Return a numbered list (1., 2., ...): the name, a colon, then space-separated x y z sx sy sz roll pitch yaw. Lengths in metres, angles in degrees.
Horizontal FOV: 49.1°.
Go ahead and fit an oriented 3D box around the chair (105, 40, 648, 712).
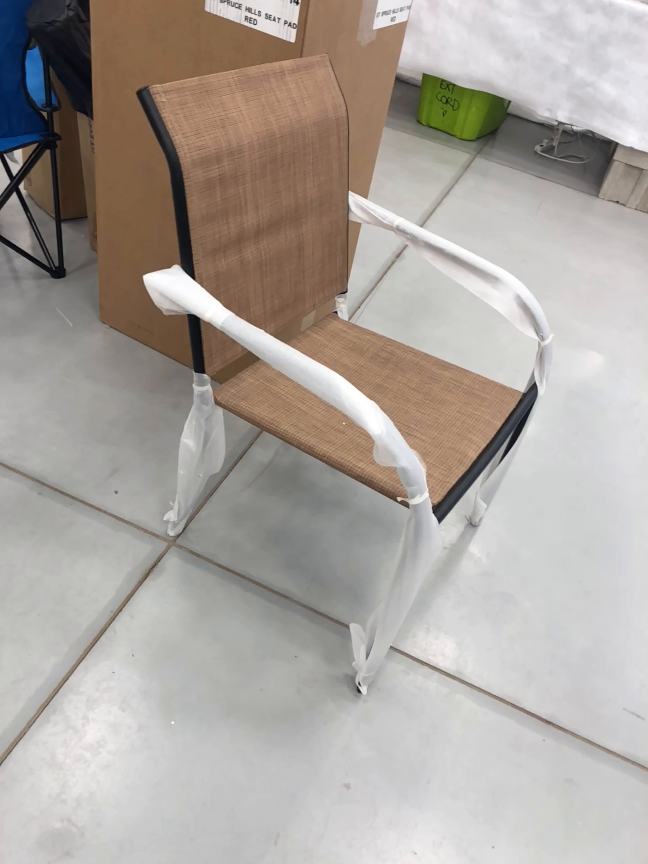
1. chair: 0.063 -0.117 1.312 0.630 0.876 0.622 30 43 18
